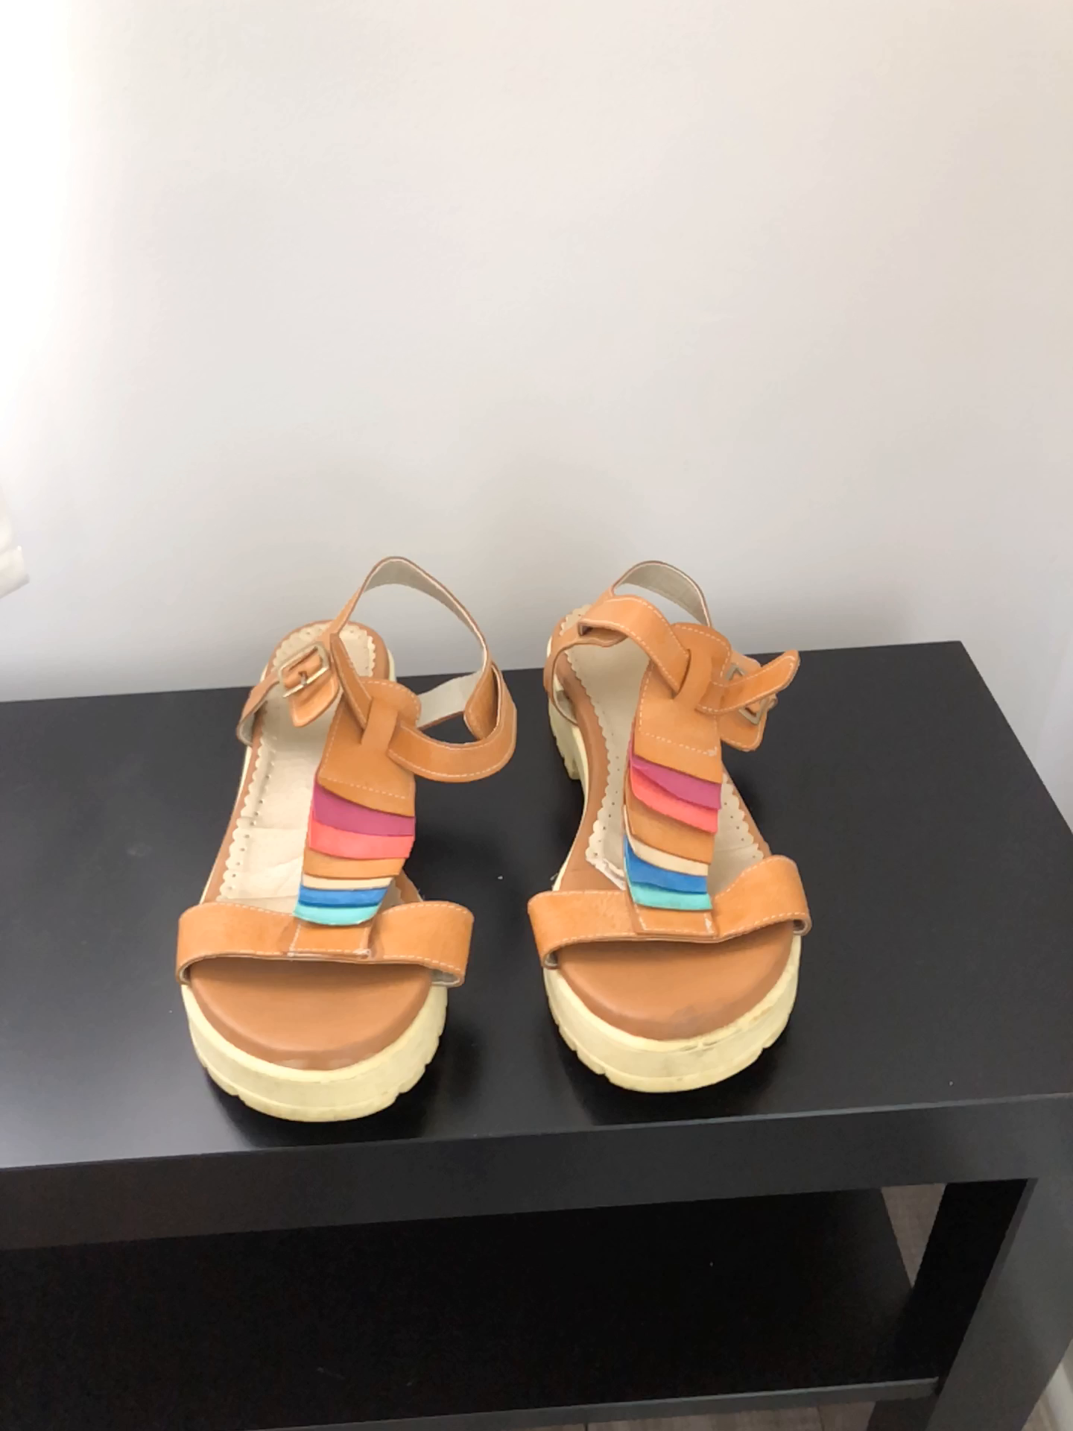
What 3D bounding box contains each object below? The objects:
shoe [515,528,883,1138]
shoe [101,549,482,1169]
[{"bbox_3d":[0.045,0.026,0.452,0.100,0.077,0.248,-3,38,0],"label":"shoe"},{"bbox_3d":[-0.075,0.037,0.459,0.100,0.083,0.248,-3,38,0],"label":"shoe"}]
